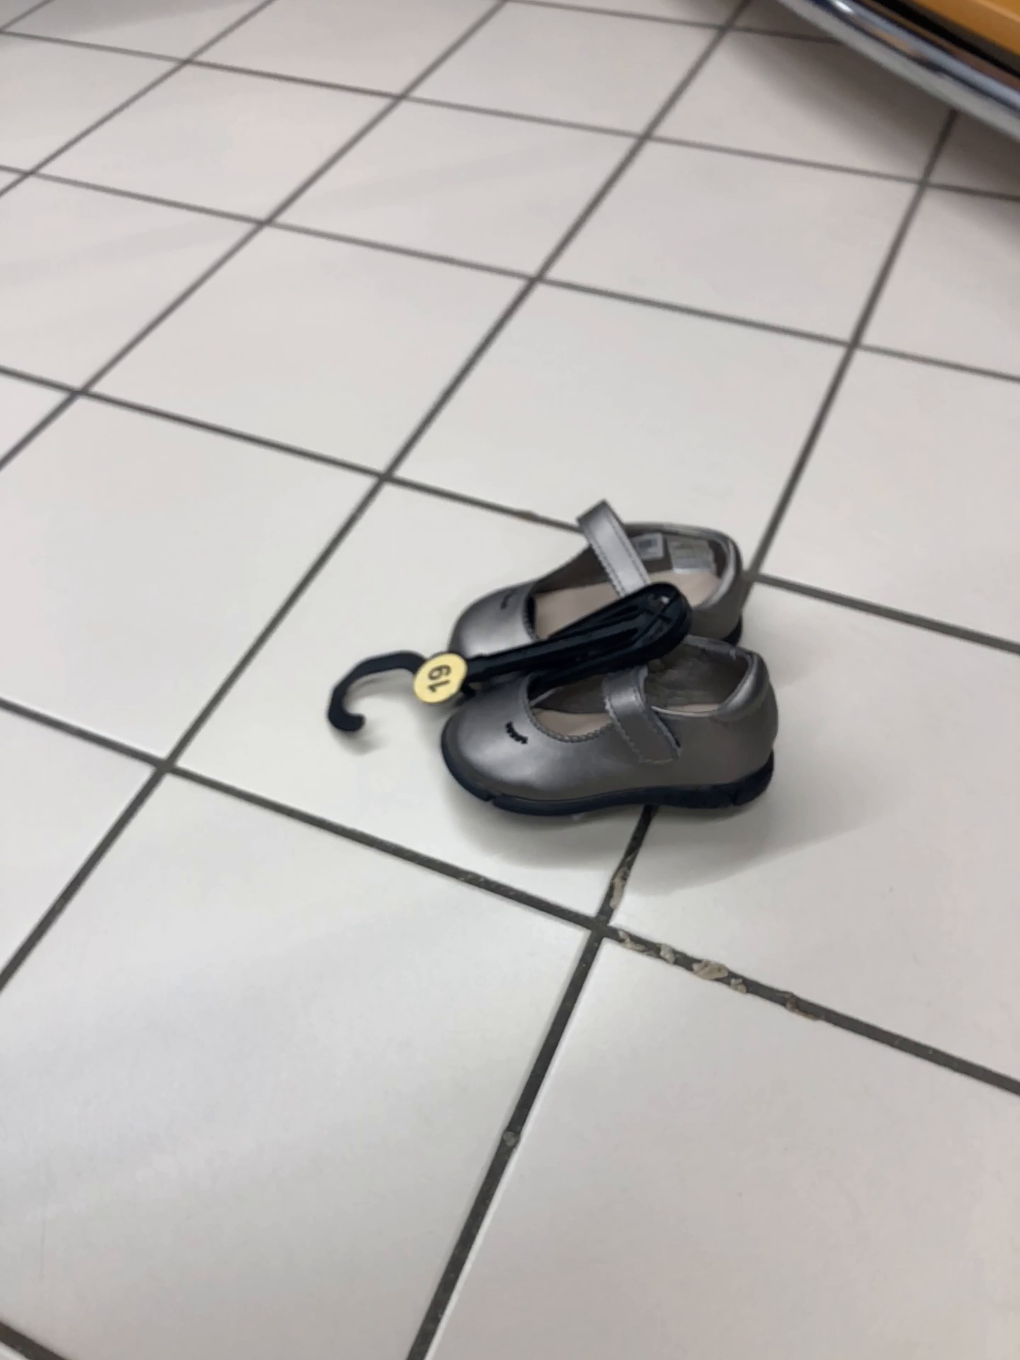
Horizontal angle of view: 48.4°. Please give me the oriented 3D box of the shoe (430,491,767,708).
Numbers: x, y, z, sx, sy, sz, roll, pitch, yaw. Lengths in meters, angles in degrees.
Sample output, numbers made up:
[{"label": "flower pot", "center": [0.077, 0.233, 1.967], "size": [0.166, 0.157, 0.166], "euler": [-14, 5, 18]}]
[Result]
[{"label": "shoe", "center": [0.037, -0.036, 0.504], "size": [0.134, 0.047, 0.059], "euler": [-10, 50, -5]}]

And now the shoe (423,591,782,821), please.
[{"label": "shoe", "center": [0.035, 0.010, 0.454], "size": [0.129, 0.061, 0.068], "euler": [-1, 36, 2]}]
